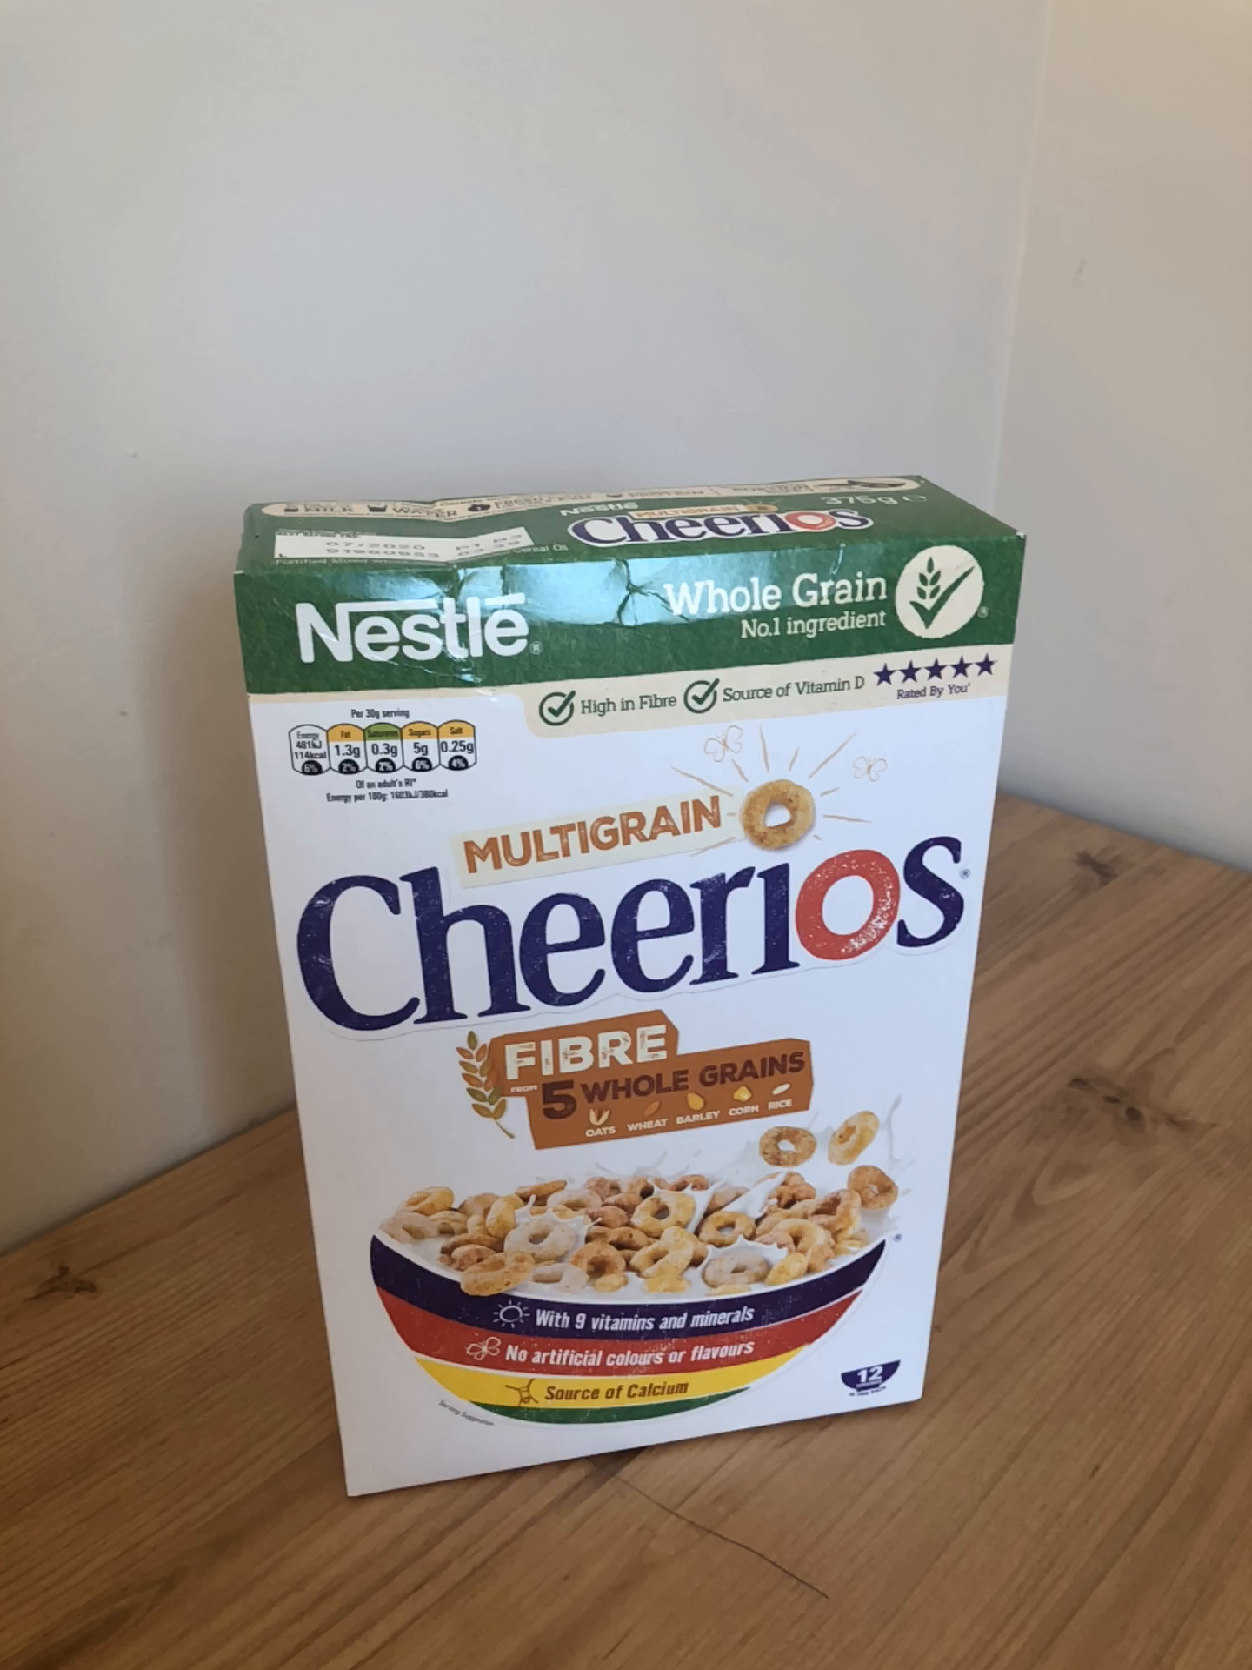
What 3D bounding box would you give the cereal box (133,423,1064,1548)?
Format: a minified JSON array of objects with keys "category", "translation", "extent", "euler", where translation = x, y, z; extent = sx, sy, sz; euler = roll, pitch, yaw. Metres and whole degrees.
[{"category":"cereal box","translation":[-0.008,0.048,0.408],"extent":[0.210,0.308,0.080],"euler":[-5,25,-11]}]
